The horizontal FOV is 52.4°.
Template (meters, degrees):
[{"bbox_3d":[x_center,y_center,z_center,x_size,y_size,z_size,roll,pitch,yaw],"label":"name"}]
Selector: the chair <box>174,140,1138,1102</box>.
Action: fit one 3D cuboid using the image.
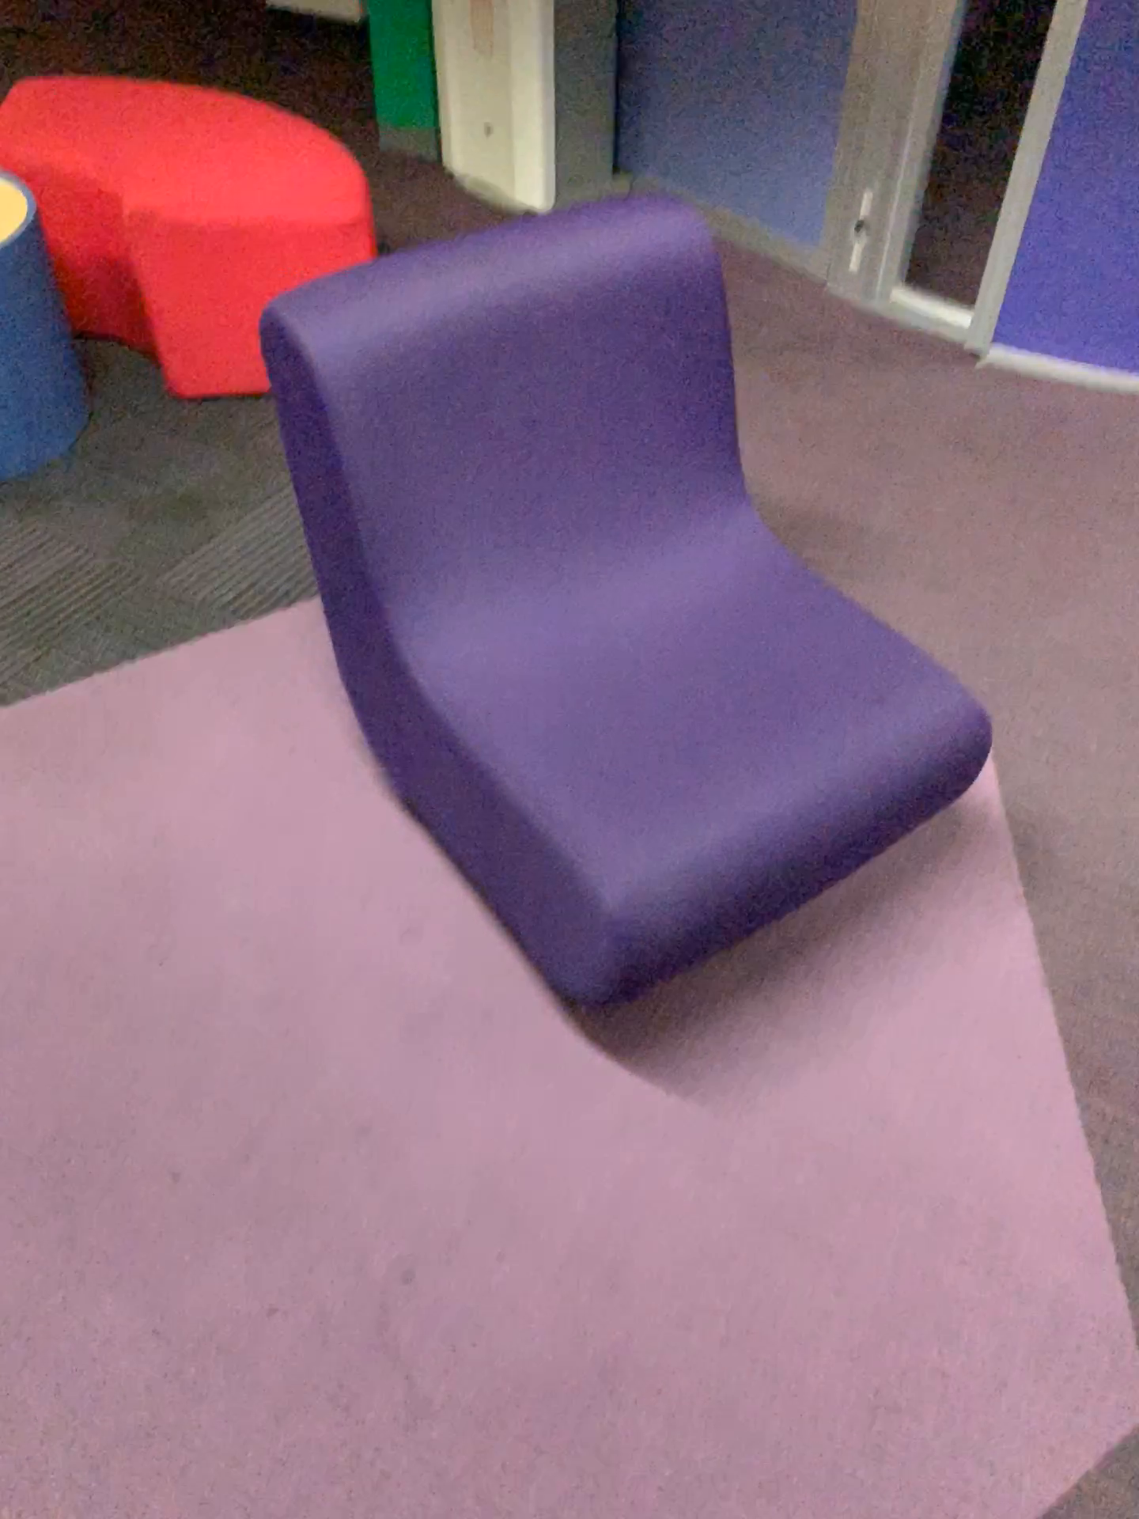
[{"bbox_3d":[0.120,-0.249,1.447,0.803,0.614,0.825,-27,52,-24],"label":"chair"}]
